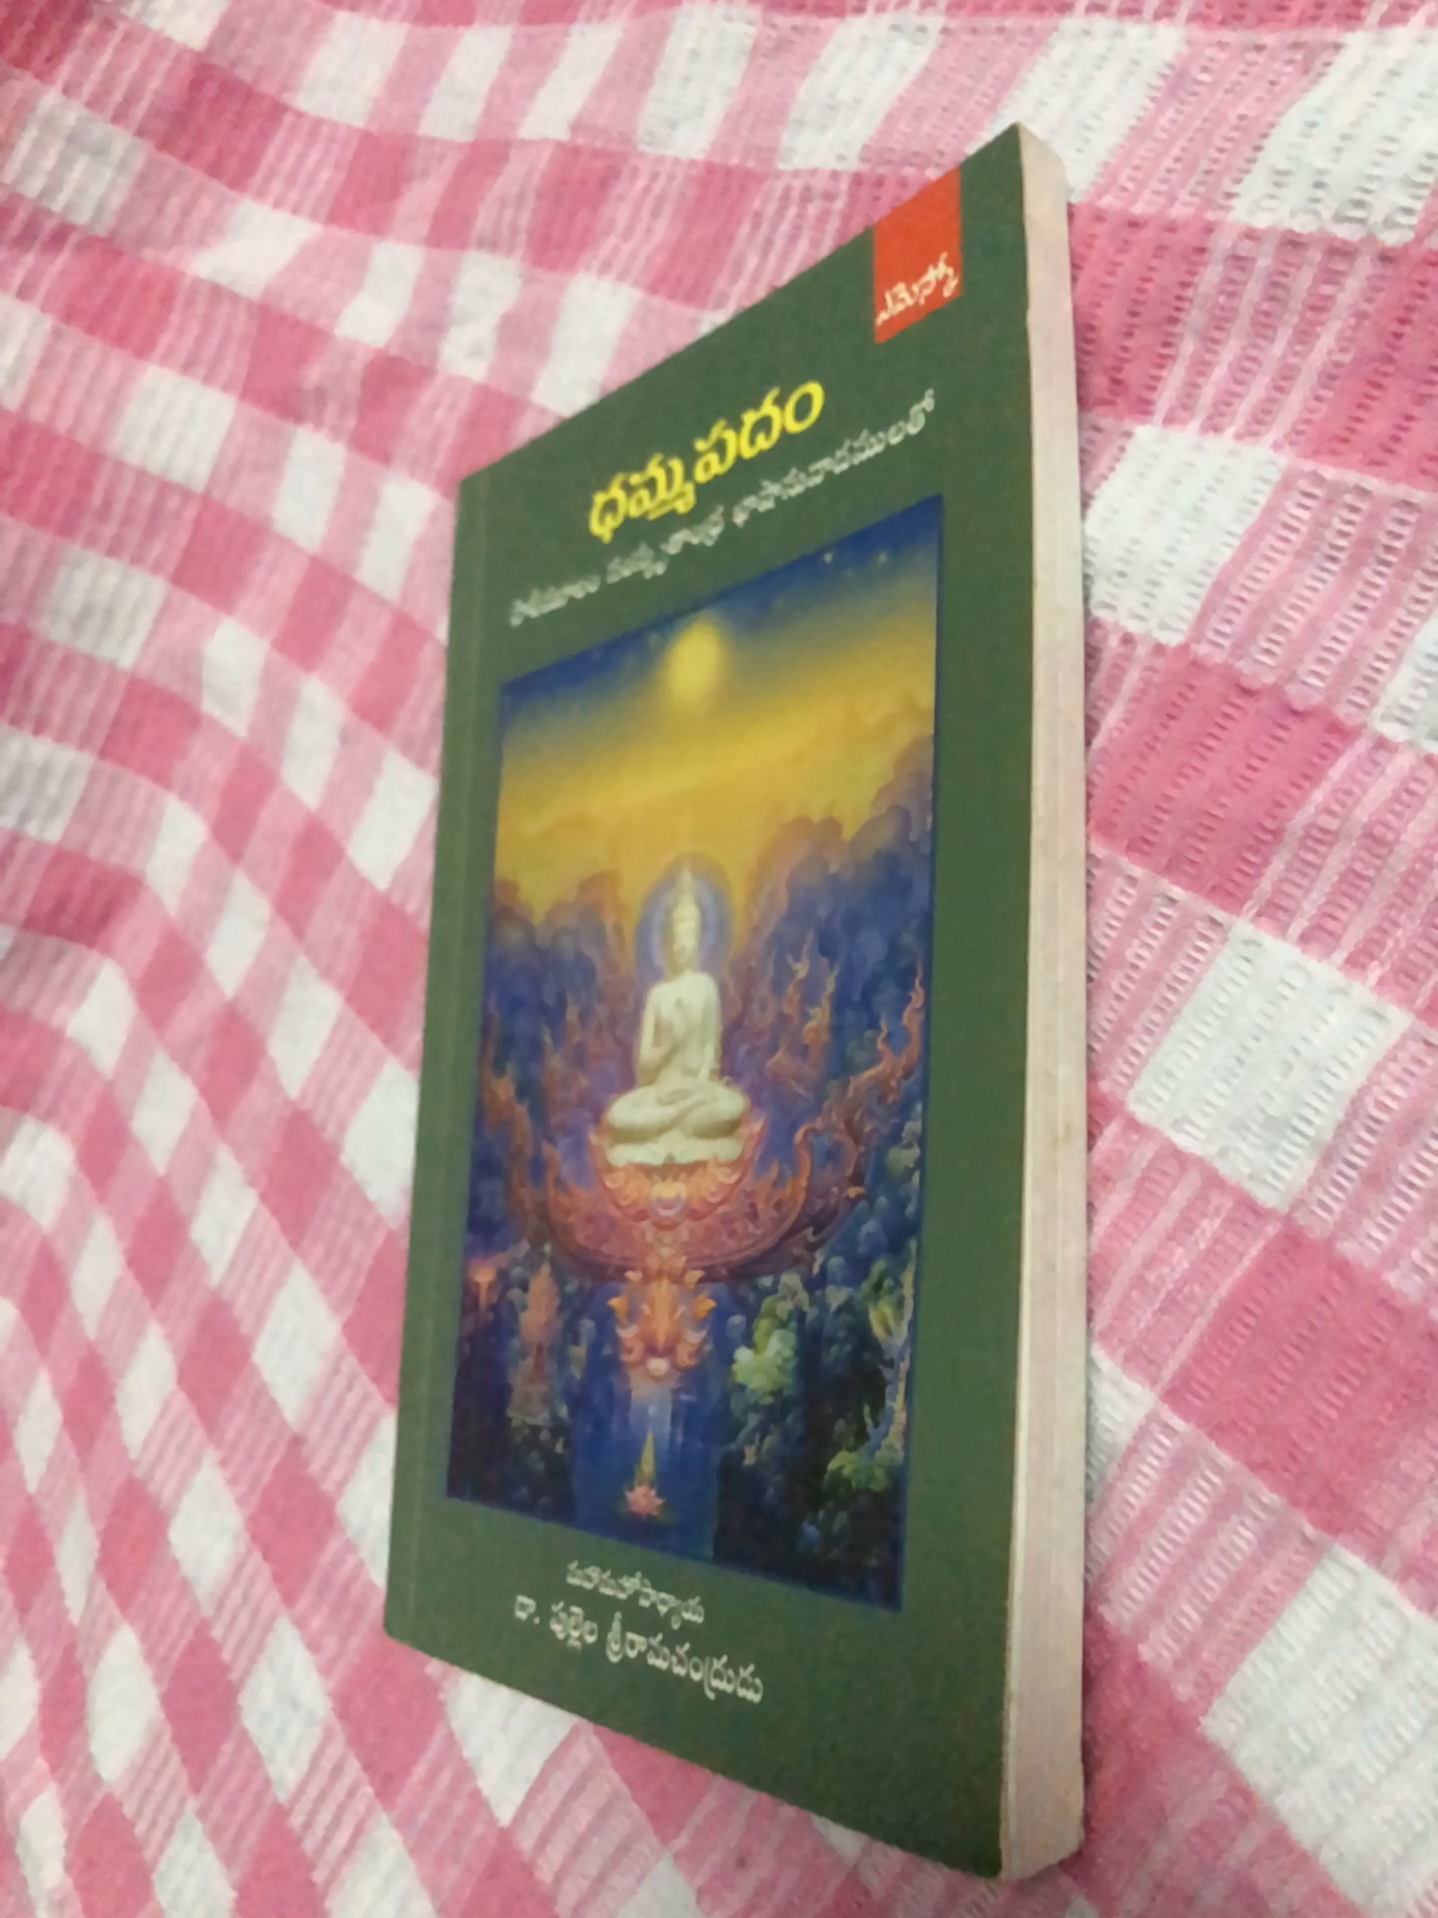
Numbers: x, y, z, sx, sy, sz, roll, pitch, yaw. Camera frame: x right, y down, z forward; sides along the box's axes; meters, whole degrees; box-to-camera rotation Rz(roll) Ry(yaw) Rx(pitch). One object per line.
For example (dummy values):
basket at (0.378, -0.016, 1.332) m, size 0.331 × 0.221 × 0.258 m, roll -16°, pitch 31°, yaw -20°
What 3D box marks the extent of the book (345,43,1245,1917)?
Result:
book at (0.002, 0.000, 0.225) m, size 0.141 × 0.020 × 0.200 m, roll -11°, pitch 72°, yaw 46°
